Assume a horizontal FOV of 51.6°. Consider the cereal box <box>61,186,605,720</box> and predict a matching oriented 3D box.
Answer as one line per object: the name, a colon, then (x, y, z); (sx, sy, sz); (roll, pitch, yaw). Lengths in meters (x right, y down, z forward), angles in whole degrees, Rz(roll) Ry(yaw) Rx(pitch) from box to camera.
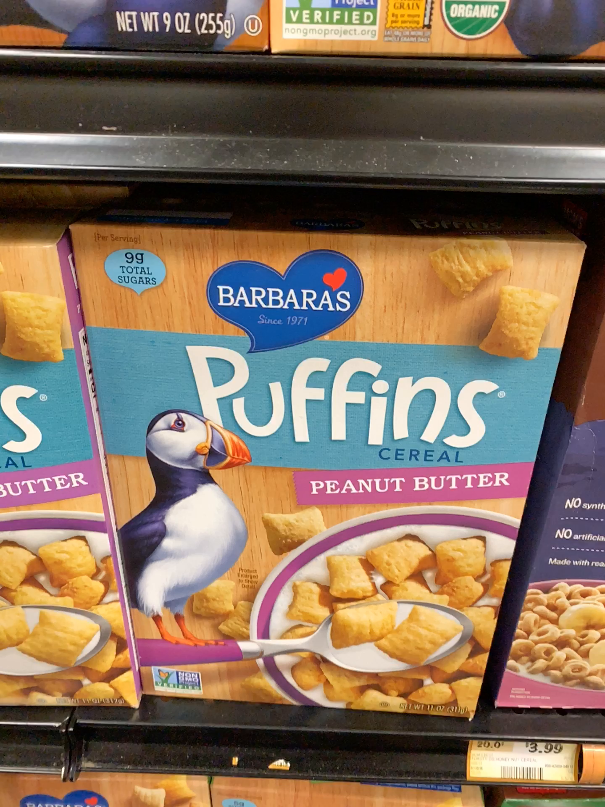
cereal box: (0.008, 0.034, 0.318); (0.200, 0.259, 0.070); (3, 25, 2)
